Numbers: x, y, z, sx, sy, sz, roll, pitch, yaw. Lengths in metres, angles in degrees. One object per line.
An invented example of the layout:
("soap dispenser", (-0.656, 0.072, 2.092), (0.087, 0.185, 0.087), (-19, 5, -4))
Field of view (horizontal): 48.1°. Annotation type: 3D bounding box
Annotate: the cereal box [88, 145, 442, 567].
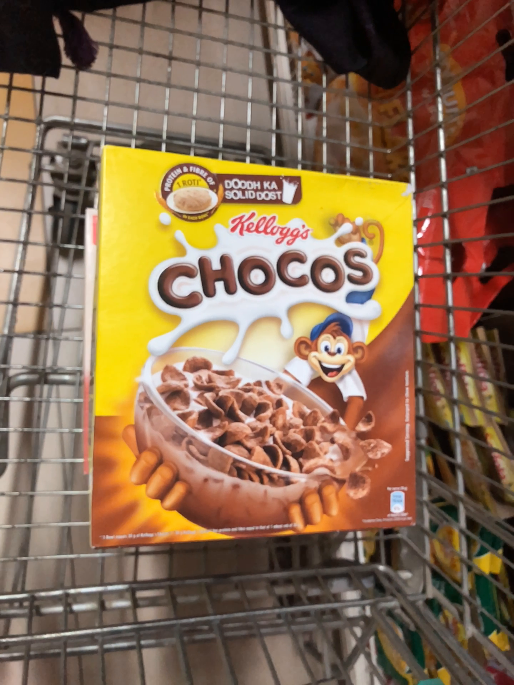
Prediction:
("cereal box", (0.004, 0.008, 0.319), (0.180, 0.070, 0.190), (2, 87, -17))
